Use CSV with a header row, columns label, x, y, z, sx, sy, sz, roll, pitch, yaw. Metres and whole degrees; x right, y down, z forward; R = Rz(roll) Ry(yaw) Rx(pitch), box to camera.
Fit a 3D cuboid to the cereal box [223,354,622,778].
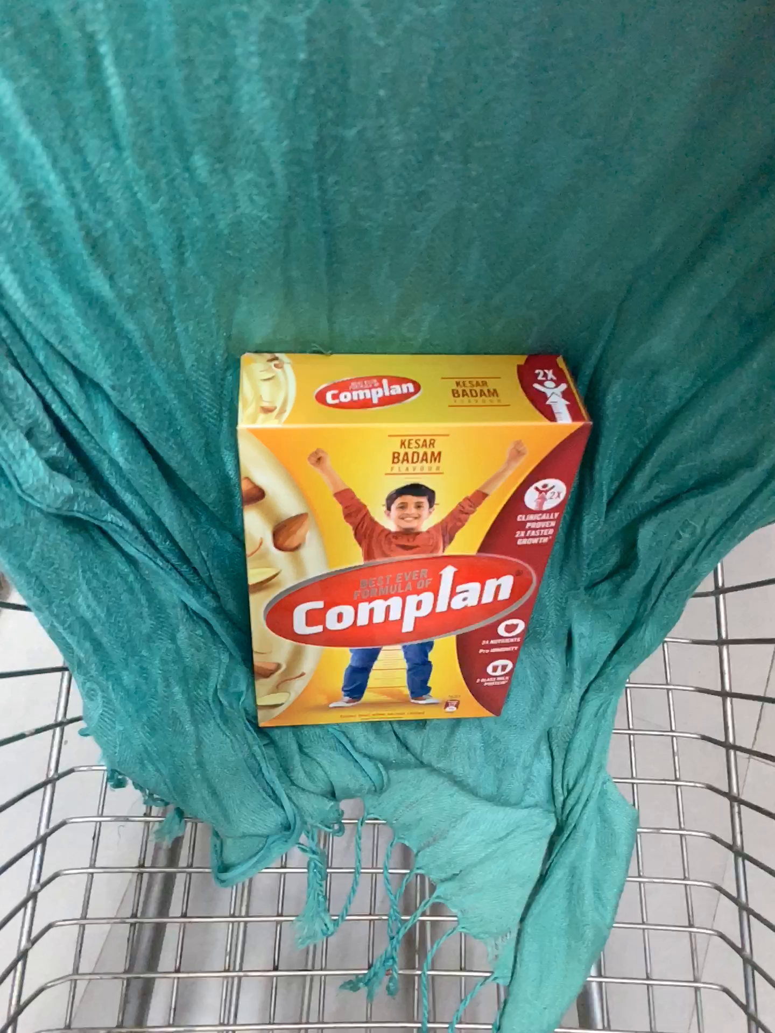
label,x,y,z,sx,sy,sz,roll,pitch,yaw
cereal box,0.008,0.032,0.360,0.140,0.200,0.060,0,37,-4
